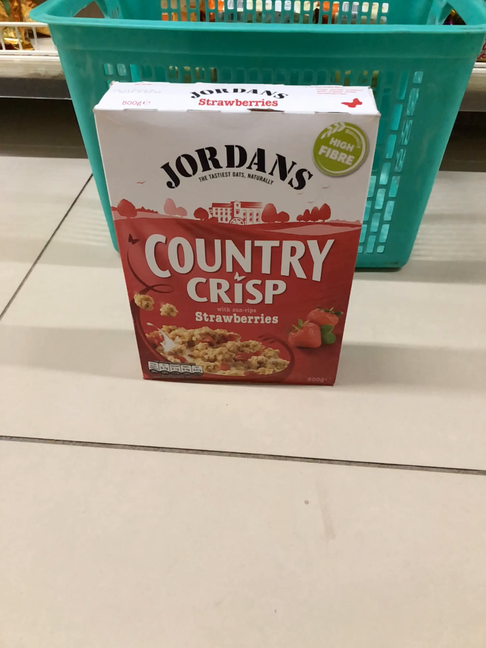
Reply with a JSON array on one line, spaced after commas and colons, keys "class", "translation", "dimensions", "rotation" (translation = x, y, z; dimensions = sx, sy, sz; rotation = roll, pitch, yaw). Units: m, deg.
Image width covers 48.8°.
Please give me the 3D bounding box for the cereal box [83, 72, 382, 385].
[{"class": "cereal box", "translation": [-0.005, -0.058, 0.422], "dimensions": [0.180, 0.248, 0.050], "rotation": [1, 41, 2]}]
